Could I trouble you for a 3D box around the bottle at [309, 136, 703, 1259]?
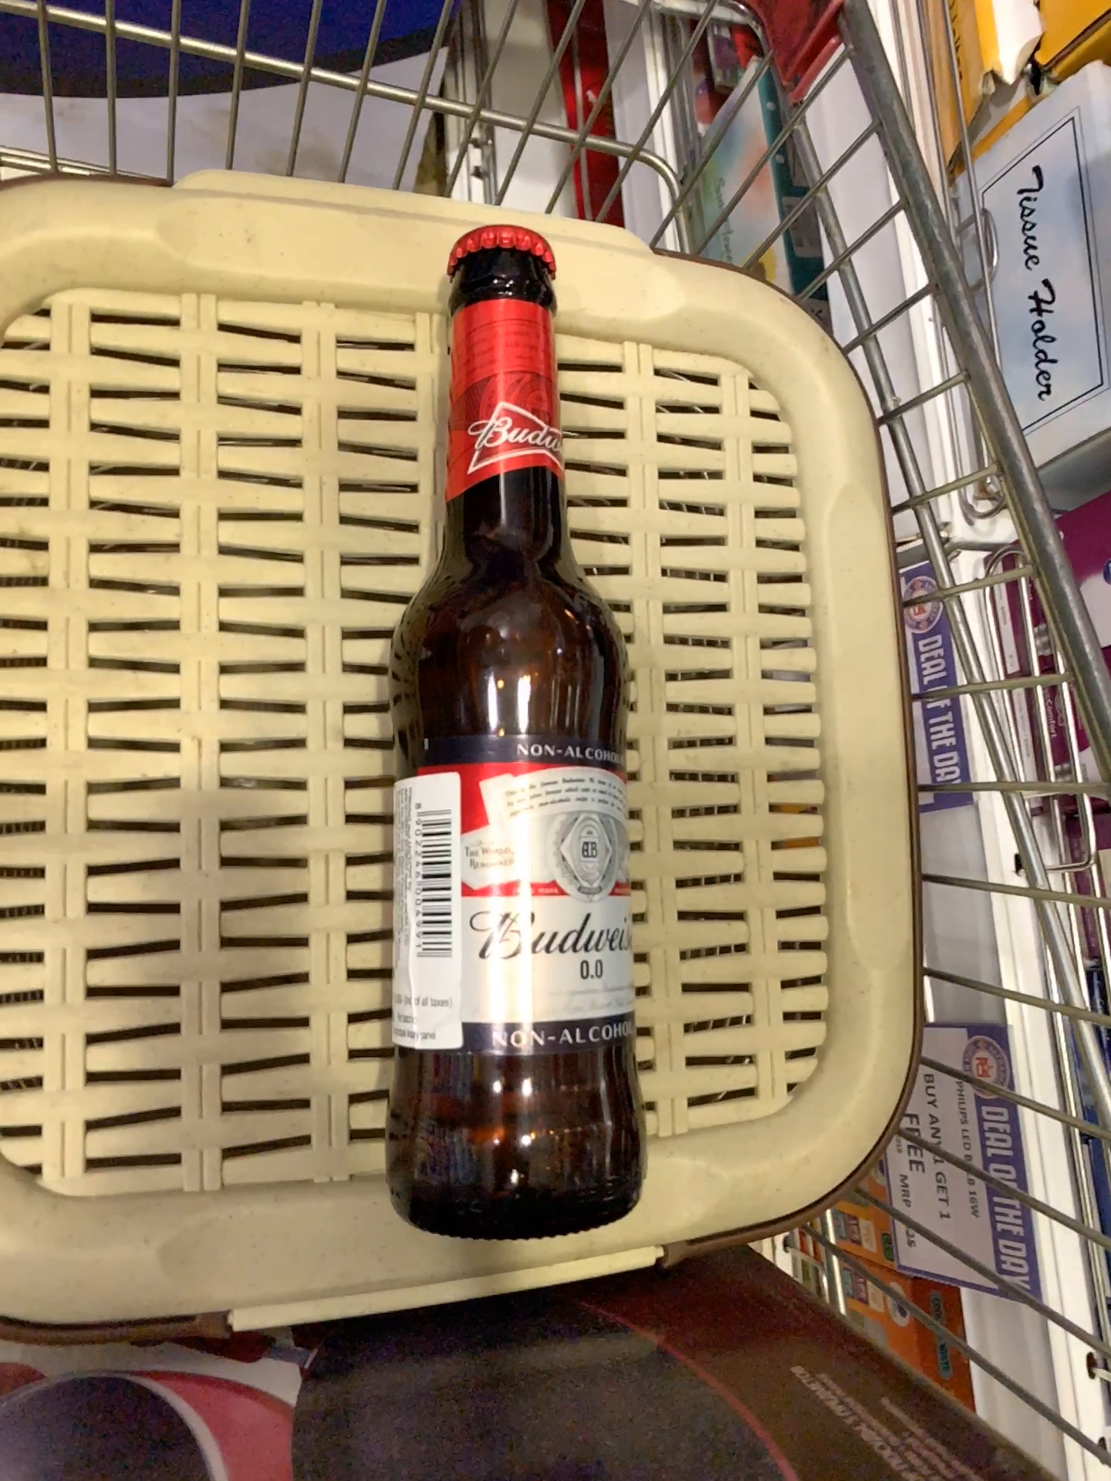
[{"bbox_3d":[-0.014,-0.010,0.263,0.060,0.060,0.220,2,83,-36],"label":"bottle"}]
